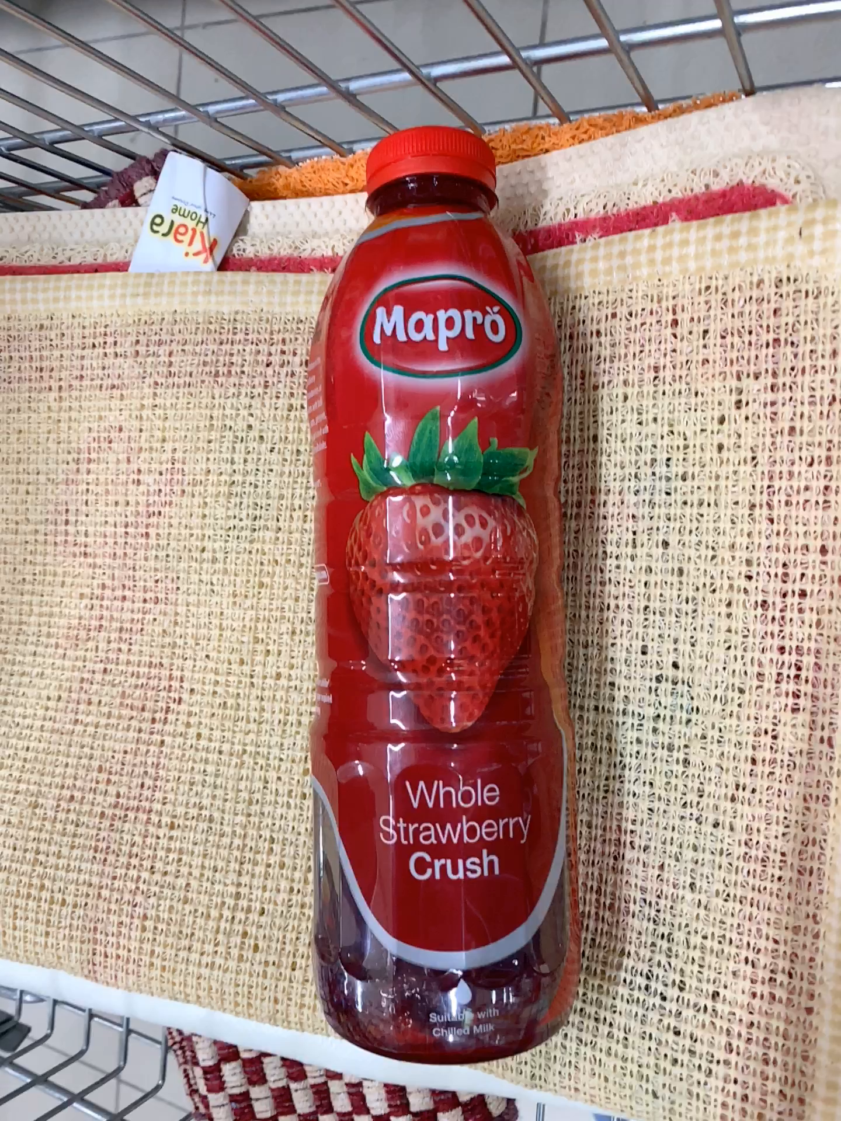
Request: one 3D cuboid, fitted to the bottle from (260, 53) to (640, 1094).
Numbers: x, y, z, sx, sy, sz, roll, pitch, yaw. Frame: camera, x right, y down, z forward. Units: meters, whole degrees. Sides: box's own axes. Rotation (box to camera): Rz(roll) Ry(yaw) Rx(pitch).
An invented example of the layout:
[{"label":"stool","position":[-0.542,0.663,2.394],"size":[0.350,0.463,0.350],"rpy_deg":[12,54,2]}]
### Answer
[{"label":"bottle","position":[0.006,0.005,0.245],"size":[0.090,0.070,0.250],"rpy_deg":[0,92,-2]}]
